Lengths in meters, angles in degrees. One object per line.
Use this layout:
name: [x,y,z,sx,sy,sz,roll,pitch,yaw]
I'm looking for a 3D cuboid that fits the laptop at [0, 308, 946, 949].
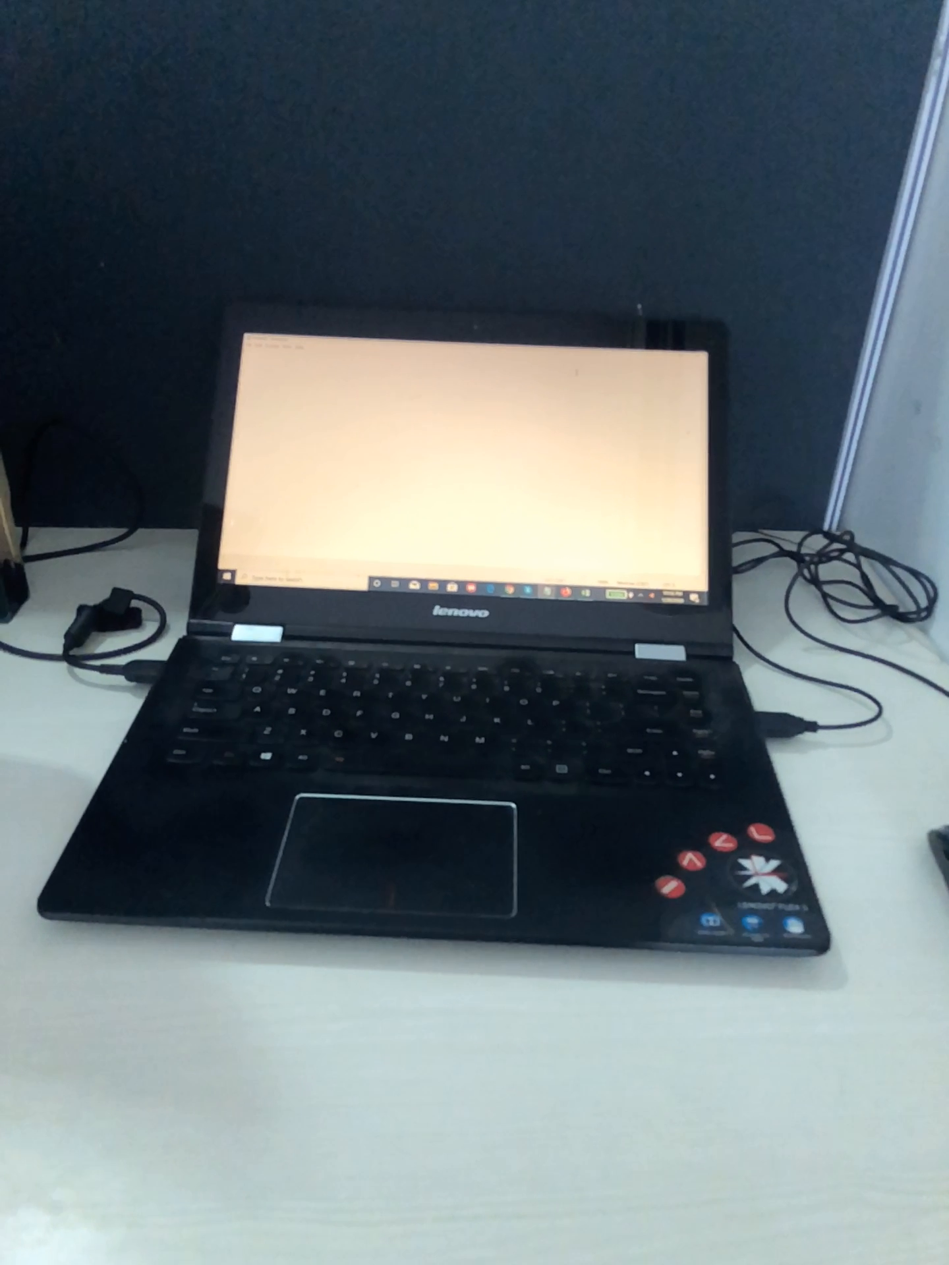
laptop: [-0.008,-0.043,0.562,0.334,0.170,0.388,3,28,0]
